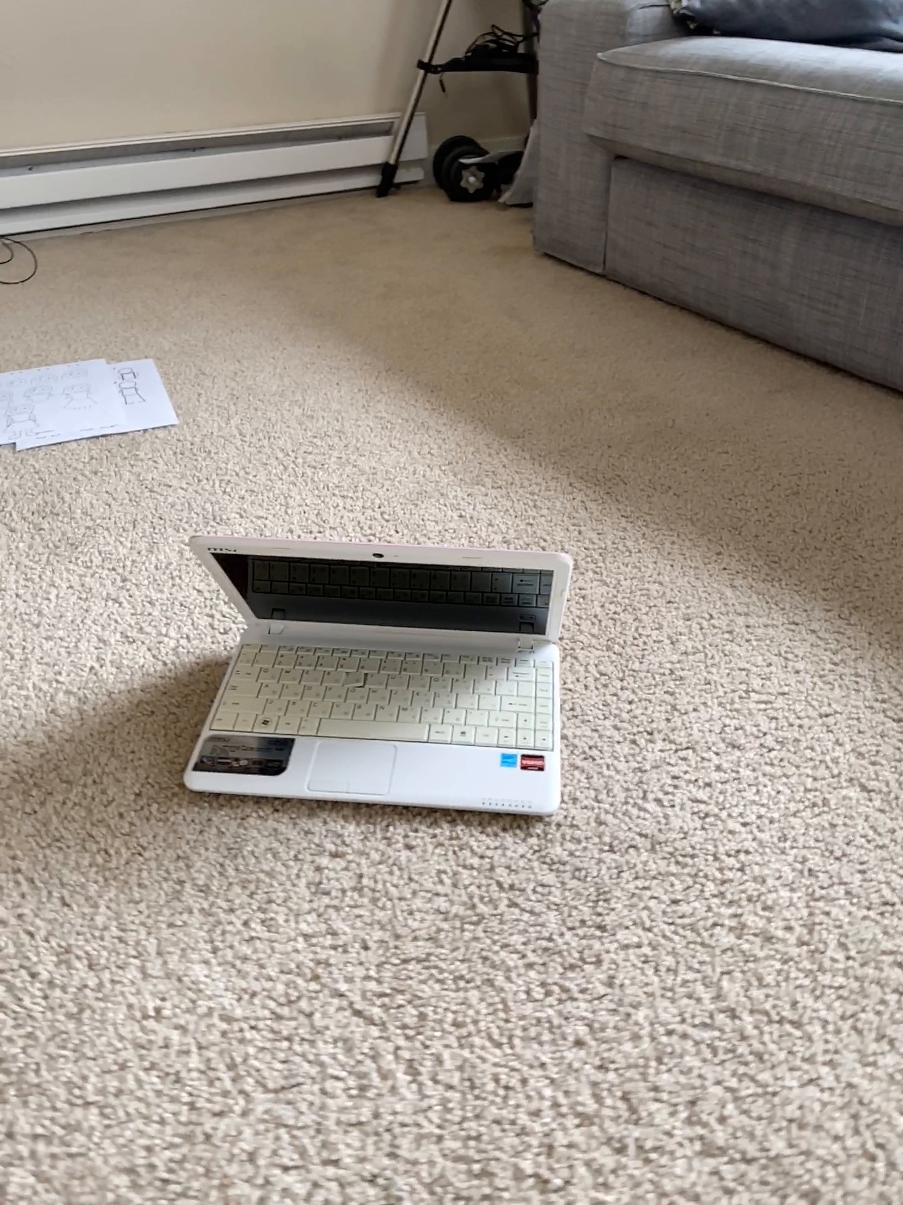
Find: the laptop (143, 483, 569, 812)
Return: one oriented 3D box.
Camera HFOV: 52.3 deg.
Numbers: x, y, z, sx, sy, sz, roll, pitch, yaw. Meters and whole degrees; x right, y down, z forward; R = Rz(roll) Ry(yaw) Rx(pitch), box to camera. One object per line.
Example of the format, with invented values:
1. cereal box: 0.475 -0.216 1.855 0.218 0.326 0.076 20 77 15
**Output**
1. laptop: -0.057 0.028 0.722 0.286 0.147 0.188 3 37 5
